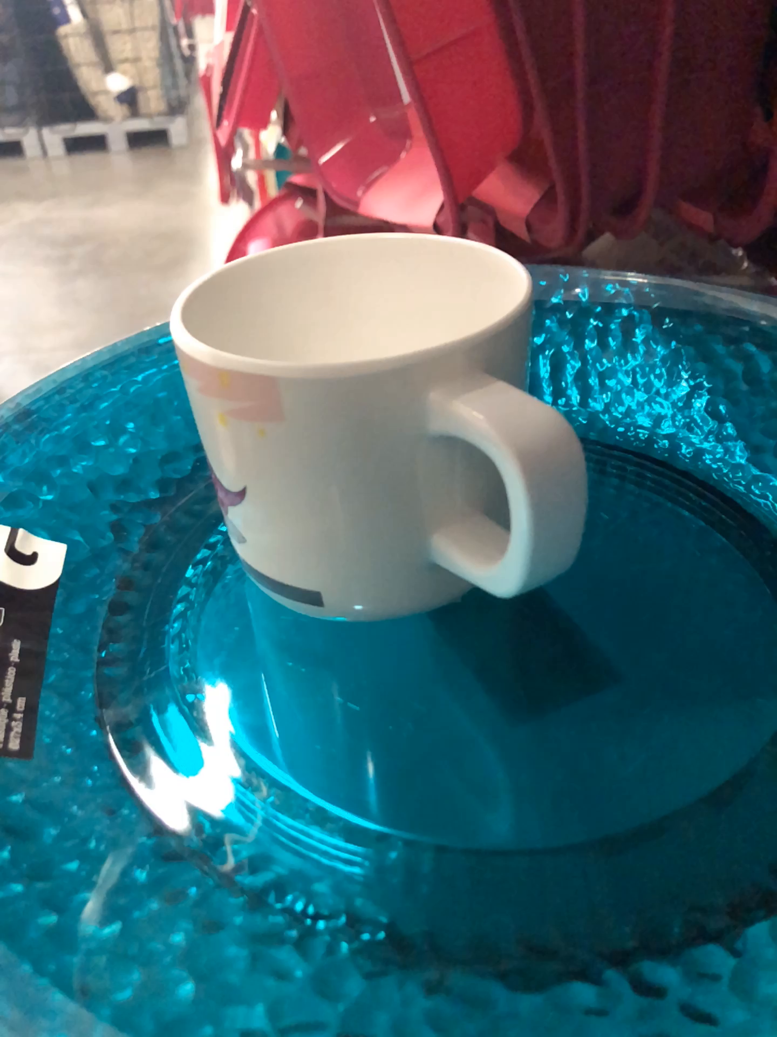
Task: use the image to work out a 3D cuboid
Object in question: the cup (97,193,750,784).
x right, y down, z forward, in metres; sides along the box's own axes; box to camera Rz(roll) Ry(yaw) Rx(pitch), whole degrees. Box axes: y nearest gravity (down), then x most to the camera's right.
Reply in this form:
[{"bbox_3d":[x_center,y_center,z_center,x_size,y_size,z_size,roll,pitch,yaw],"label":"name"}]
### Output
[{"bbox_3d":[0.002,-0.018,0.181,0.075,0.064,0.102,-26,41,-28],"label":"cup"}]
